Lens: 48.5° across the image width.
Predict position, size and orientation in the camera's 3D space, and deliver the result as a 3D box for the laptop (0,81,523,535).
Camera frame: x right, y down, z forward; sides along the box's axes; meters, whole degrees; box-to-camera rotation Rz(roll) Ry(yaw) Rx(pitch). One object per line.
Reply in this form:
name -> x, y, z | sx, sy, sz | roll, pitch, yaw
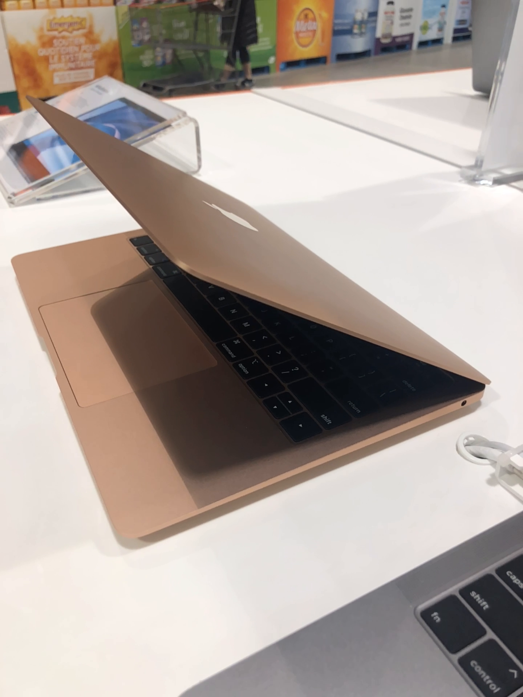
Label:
laptop -> -0.038, -0.071, 0.354 | 0.199, 0.106, 0.297 | -17, 38, -22
